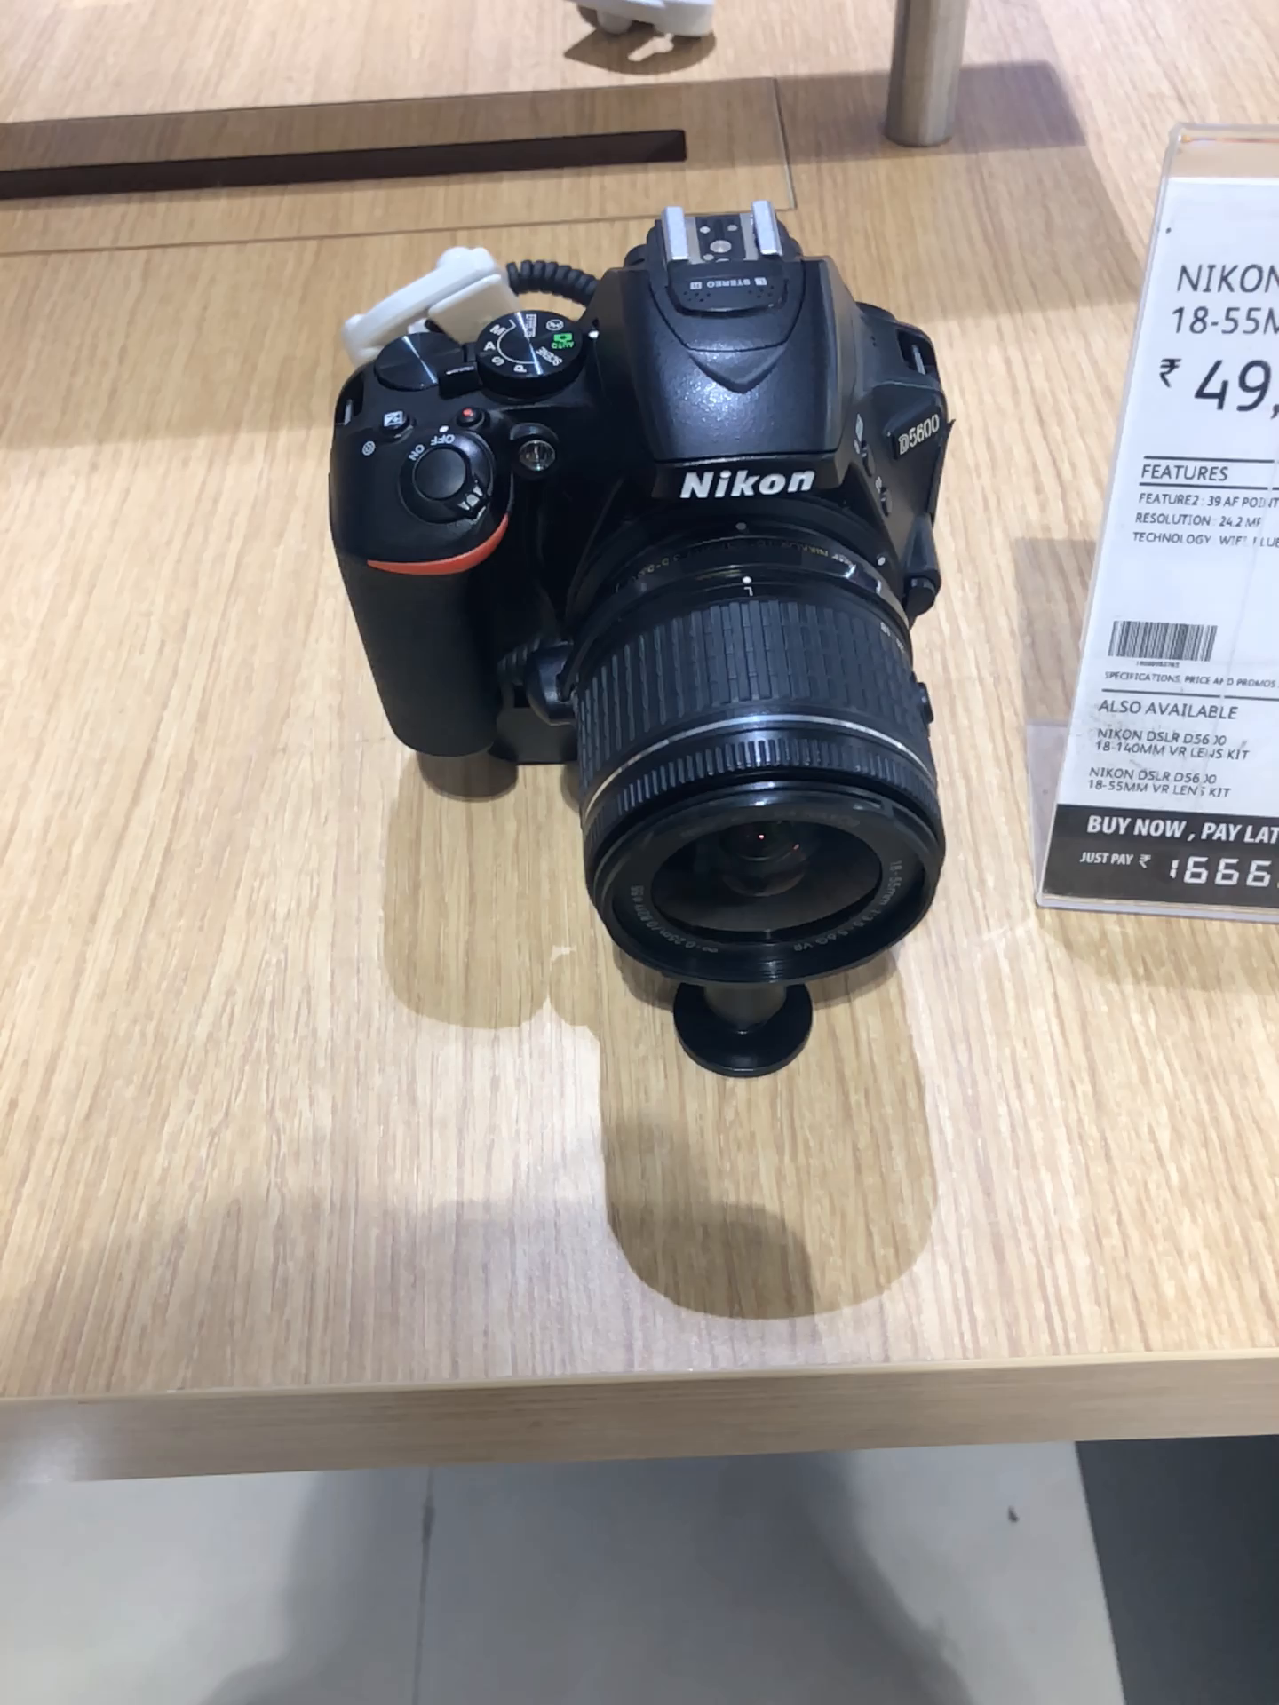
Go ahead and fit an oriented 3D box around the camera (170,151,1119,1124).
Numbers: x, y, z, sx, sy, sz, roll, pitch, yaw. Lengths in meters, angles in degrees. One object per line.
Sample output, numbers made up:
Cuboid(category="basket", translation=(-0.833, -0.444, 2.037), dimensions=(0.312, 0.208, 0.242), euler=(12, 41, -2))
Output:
Cuboid(category="camera", translation=(-0.001, -0.046, 0.282), dimensions=(0.130, 0.099, 0.161), euler=(-4, 53, 1))
